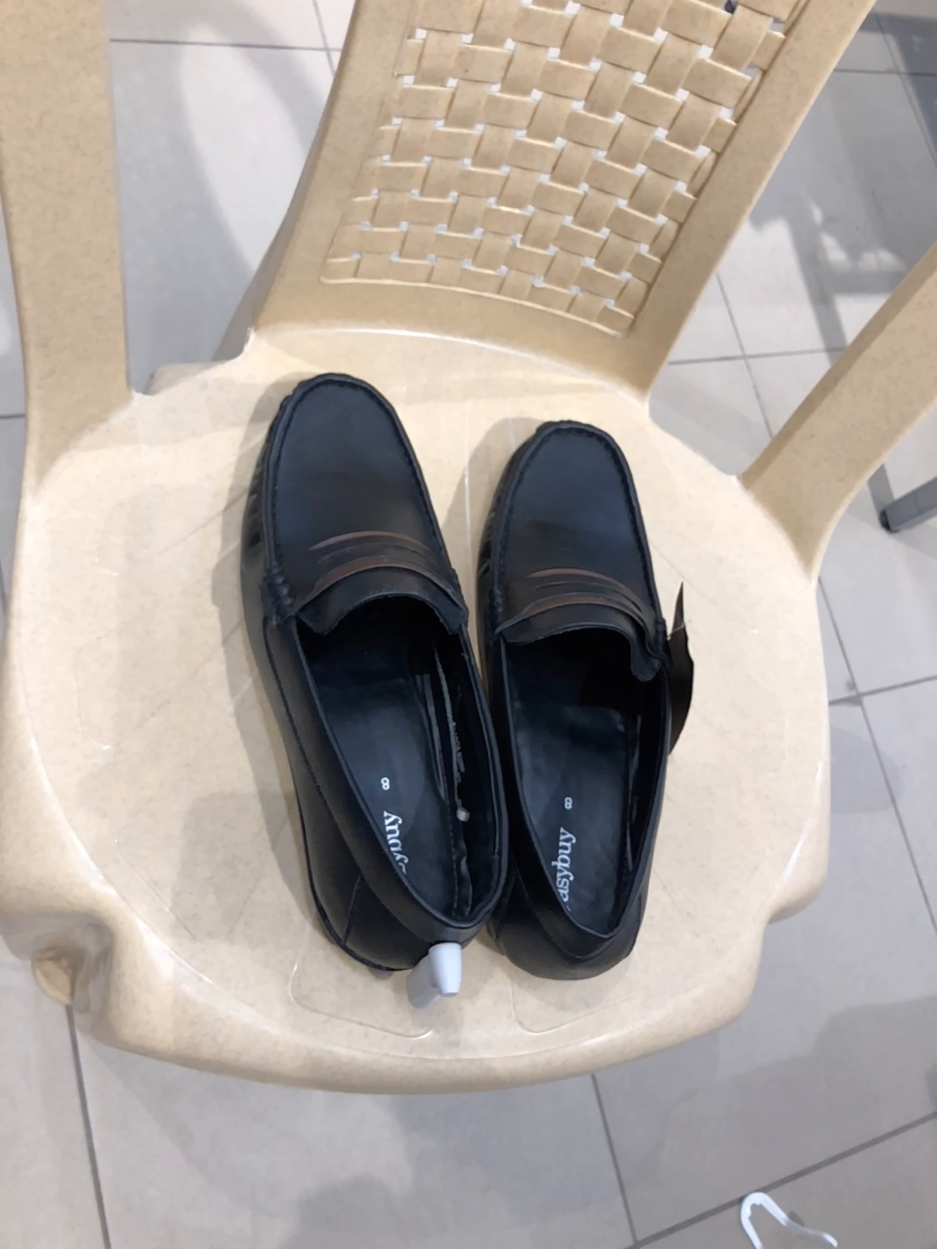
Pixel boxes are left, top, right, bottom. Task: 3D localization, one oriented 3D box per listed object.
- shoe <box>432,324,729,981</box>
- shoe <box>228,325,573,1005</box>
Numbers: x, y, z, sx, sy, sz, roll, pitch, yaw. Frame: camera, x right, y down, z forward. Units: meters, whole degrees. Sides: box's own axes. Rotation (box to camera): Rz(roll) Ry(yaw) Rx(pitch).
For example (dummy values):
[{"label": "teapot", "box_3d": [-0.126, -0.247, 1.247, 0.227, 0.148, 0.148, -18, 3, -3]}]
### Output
[{"label": "shoe", "box_3d": [0.052, 0.015, 0.489, 0.100, 0.088, 0.283, 8, 72, -16]}, {"label": "shoe", "box_3d": [-0.040, 0.014, 0.464, 0.100, 0.088, 0.275, -4, 75, -19]}]
